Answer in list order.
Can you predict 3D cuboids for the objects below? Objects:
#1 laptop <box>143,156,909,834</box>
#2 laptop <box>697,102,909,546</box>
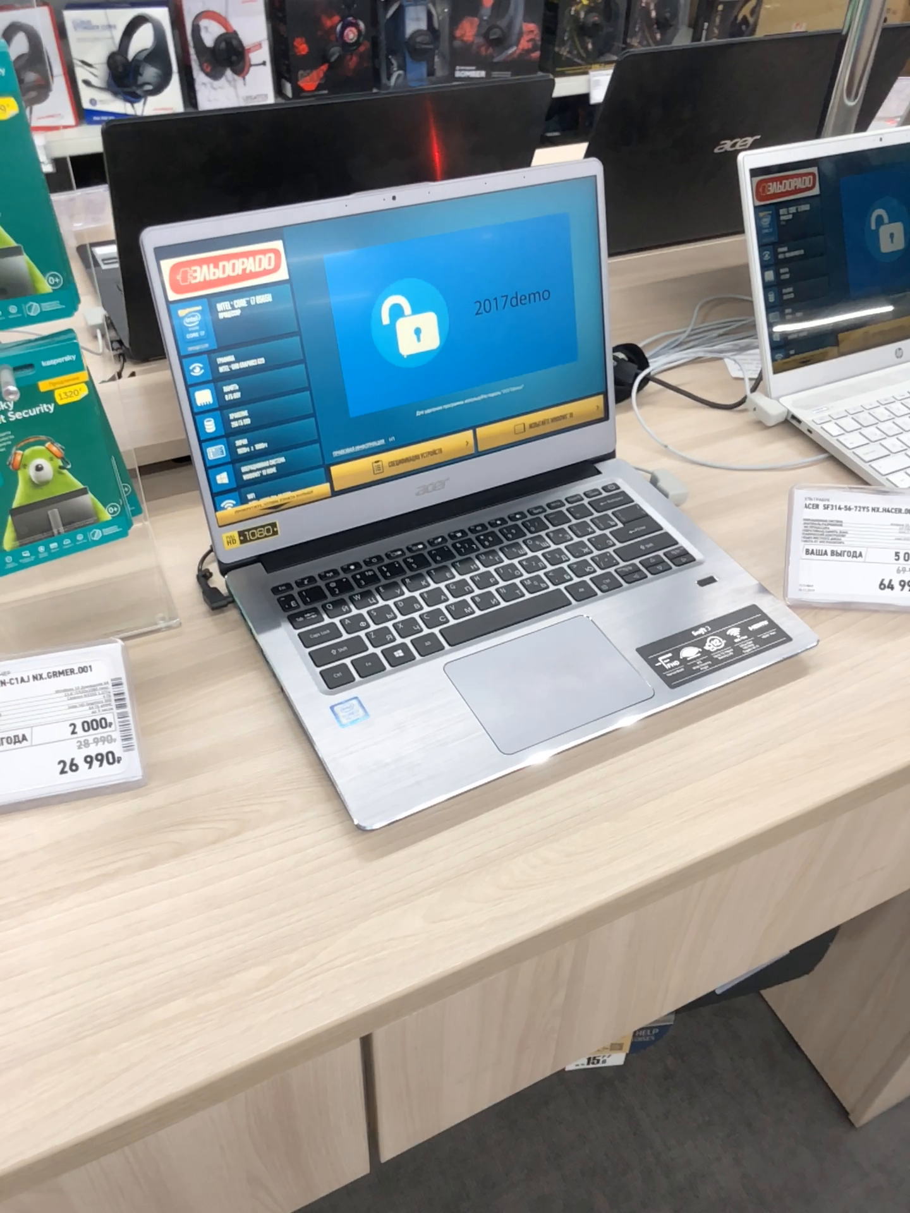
[{"bbox_3d":[0.024,-0.098,0.612,0.315,0.197,0.303,-19,48,-22],"label":"laptop"},{"bbox_3d":[0.434,-0.255,0.825,0.305,0.164,0.323,-18,49,-21],"label":"laptop"}]
